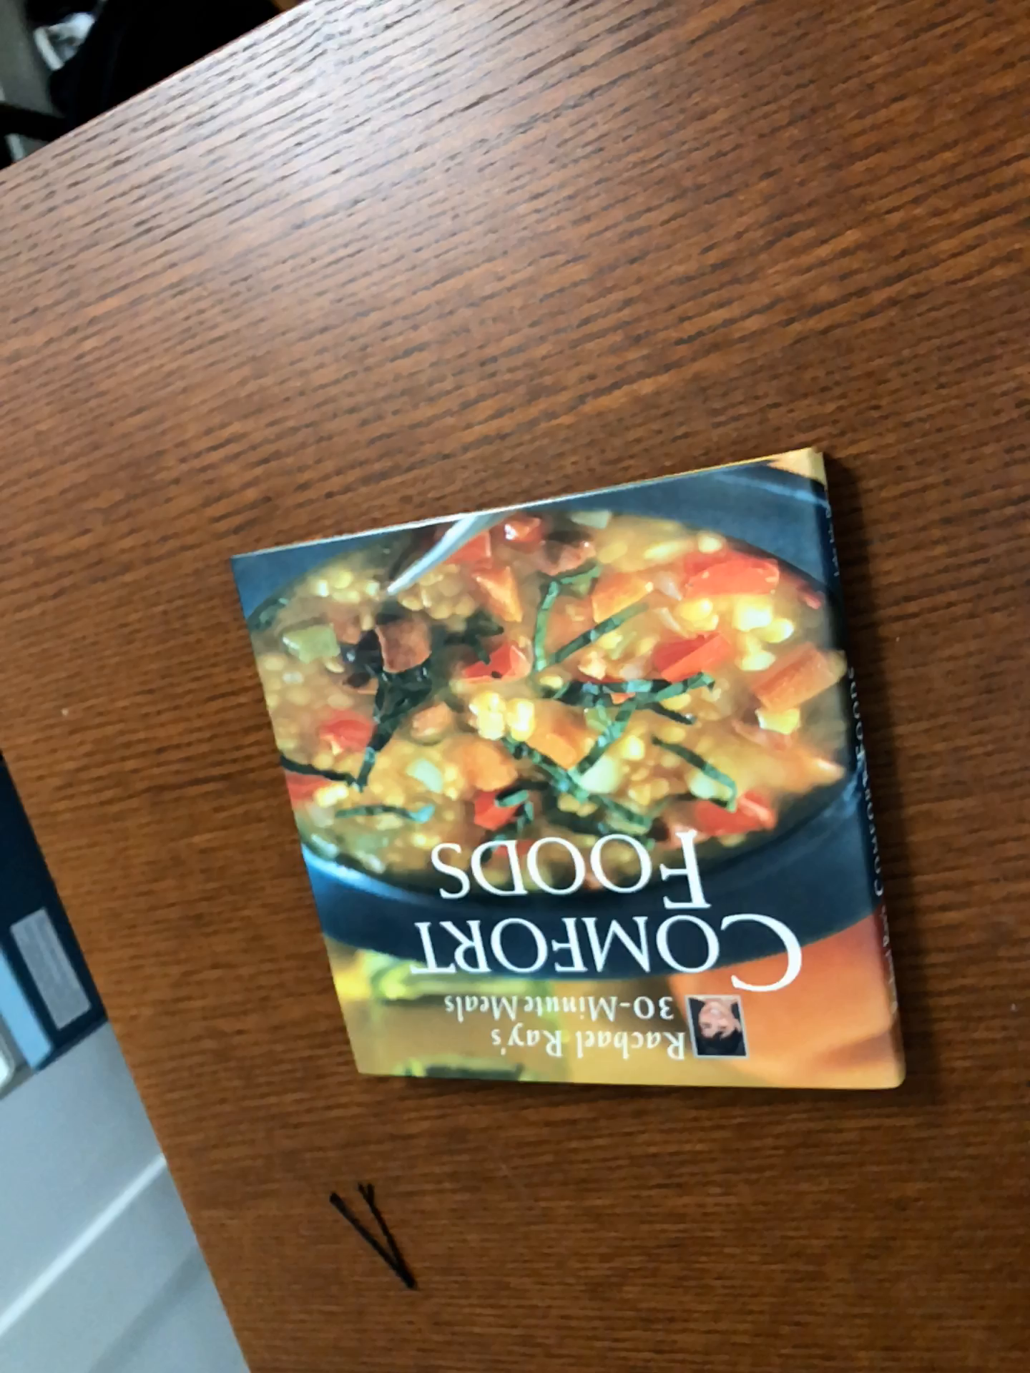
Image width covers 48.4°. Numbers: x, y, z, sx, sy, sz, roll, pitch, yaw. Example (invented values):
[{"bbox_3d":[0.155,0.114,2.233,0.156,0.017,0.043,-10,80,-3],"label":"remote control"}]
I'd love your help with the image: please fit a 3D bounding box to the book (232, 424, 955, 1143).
[{"bbox_3d":[0.024,0.040,0.371,0.200,0.030,0.210,-6,103,23],"label":"book"}]
